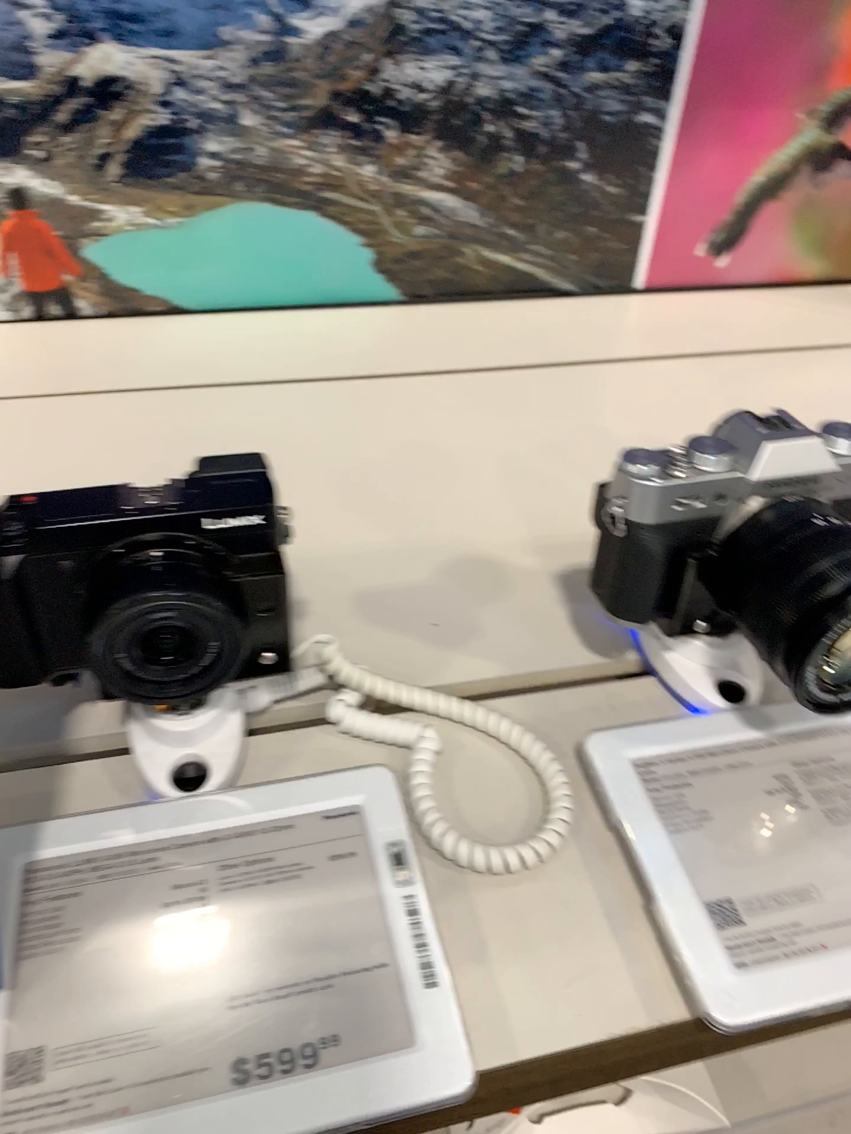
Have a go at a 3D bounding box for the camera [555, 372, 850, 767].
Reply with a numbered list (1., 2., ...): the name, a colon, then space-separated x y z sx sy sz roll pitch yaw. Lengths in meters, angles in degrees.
1. camera: 0.134 -0.006 0.340 0.120 0.080 0.121 -7 41 -13

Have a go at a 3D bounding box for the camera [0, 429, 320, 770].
1. camera: -0.103 0.009 0.312 0.120 0.080 0.070 -7 41 -13
